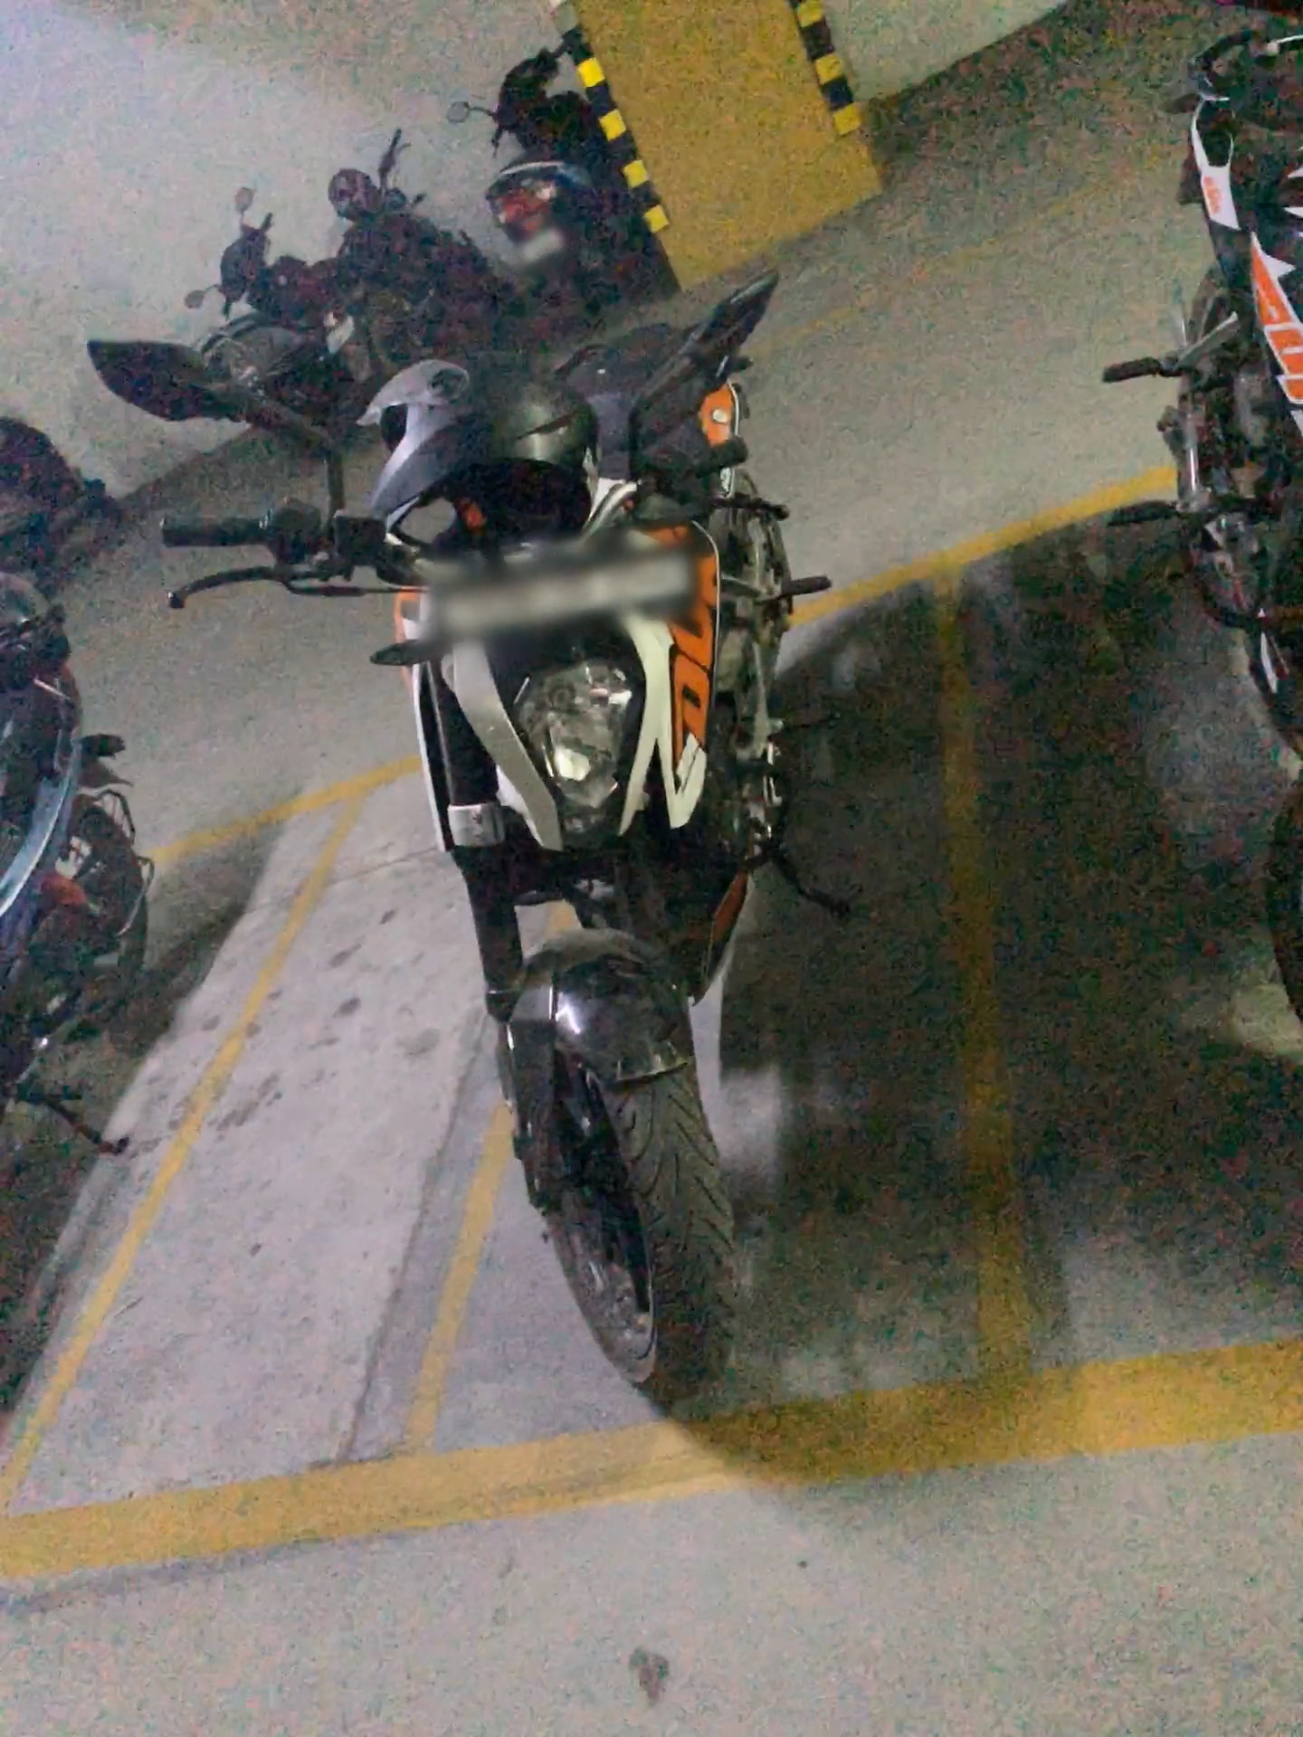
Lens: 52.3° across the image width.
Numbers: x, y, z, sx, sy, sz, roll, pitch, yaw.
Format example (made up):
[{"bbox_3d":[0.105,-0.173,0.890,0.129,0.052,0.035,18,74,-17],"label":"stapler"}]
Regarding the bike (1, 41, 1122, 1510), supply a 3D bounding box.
[{"bbox_3d":[0.037,-0.284,2.186,0.804,1.181,1.919,-18,38,22],"label":"bike"}]
